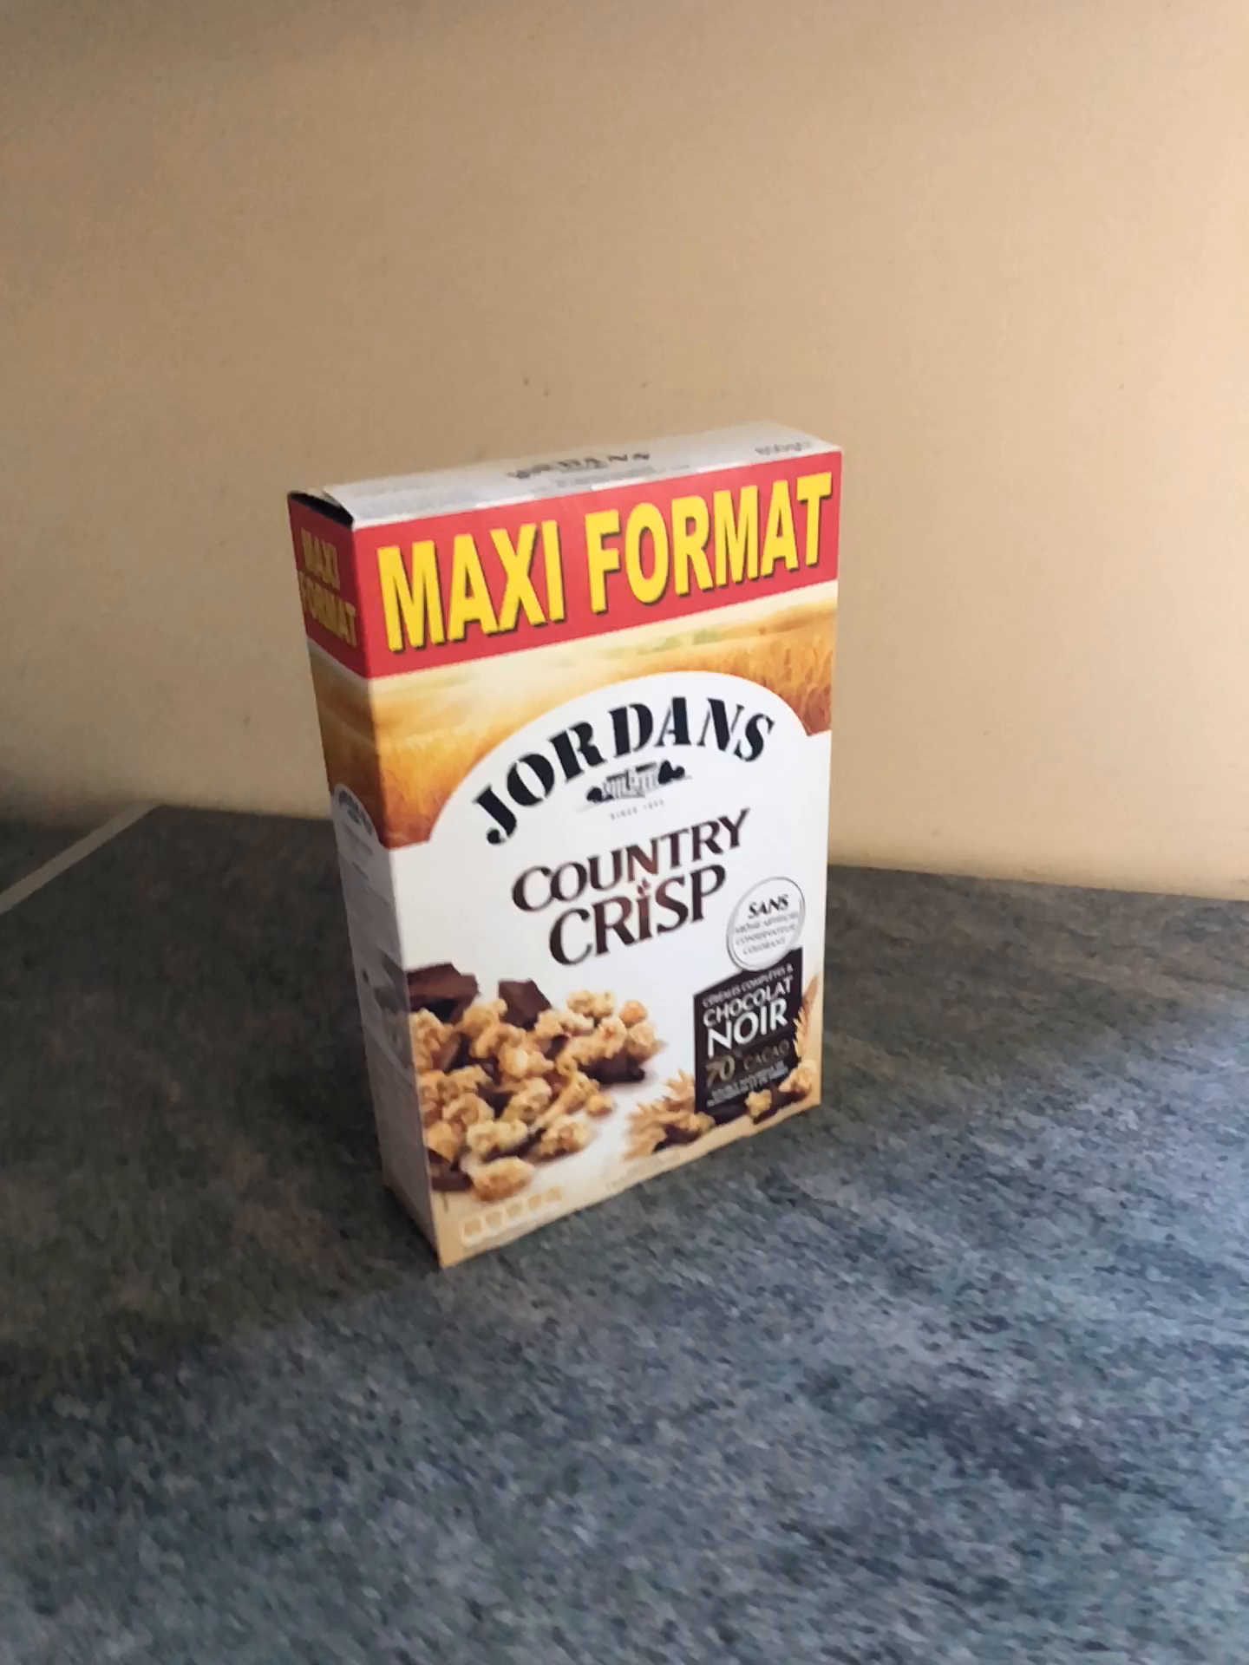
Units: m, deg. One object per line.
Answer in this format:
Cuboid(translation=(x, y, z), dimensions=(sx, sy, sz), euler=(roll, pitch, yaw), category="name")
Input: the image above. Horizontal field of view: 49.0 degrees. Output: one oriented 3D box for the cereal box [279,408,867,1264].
Cuboid(translation=(-0.009, -0.001, 0.553), dimensions=(0.201, 0.298, 0.070), euler=(-17, 29, -27), category="cereal box")
